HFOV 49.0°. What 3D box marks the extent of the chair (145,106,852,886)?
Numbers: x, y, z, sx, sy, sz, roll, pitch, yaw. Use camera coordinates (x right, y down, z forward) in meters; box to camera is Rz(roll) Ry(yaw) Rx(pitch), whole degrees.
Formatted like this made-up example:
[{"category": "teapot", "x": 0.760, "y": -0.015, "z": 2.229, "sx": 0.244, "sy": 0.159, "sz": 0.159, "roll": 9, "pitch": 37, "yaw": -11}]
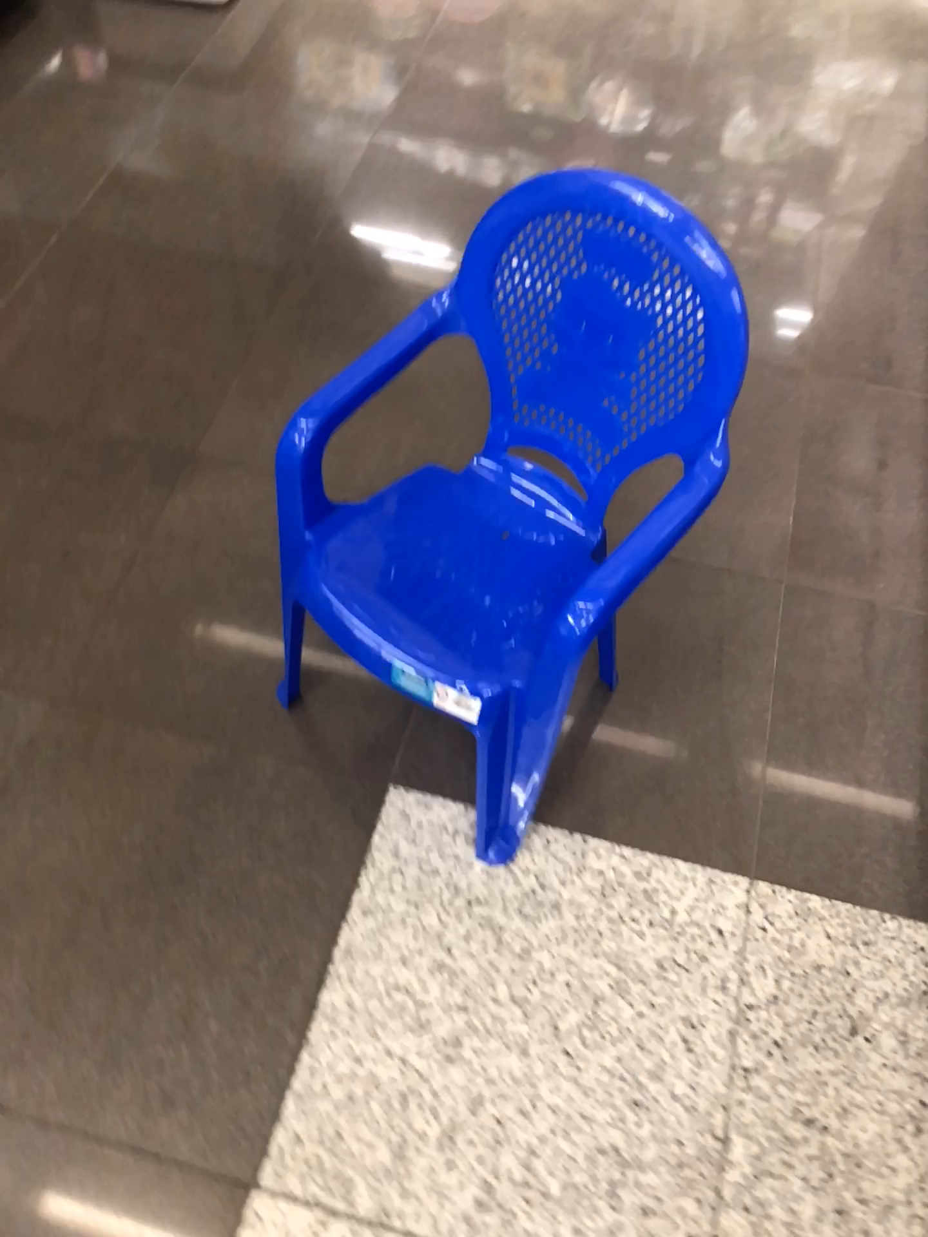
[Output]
[{"category": "chair", "x": 0.030, "y": -0.094, "z": 0.965, "sx": 0.351, "sy": 0.507, "sz": 0.401, "roll": 36, "pitch": 62, "yaw": 21}]
